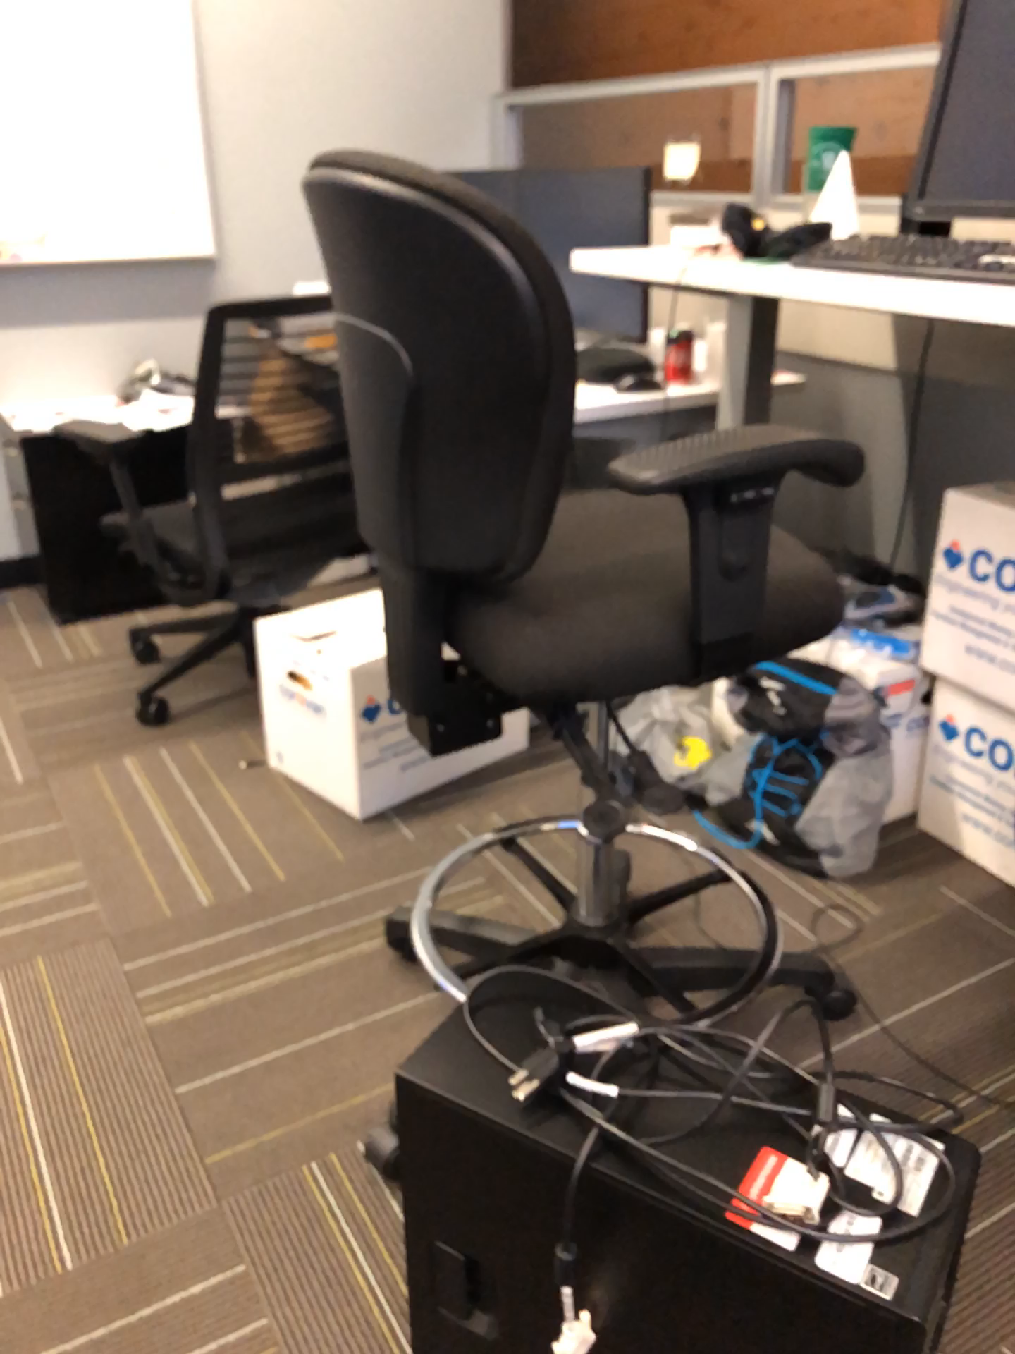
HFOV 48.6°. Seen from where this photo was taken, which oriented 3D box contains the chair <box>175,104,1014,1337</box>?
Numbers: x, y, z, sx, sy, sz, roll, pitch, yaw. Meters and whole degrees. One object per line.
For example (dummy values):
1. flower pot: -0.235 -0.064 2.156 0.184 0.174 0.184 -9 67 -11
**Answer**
1. chair: 0.105 -0.024 1.340 0.731 1.134 0.643 -11 26 -23
